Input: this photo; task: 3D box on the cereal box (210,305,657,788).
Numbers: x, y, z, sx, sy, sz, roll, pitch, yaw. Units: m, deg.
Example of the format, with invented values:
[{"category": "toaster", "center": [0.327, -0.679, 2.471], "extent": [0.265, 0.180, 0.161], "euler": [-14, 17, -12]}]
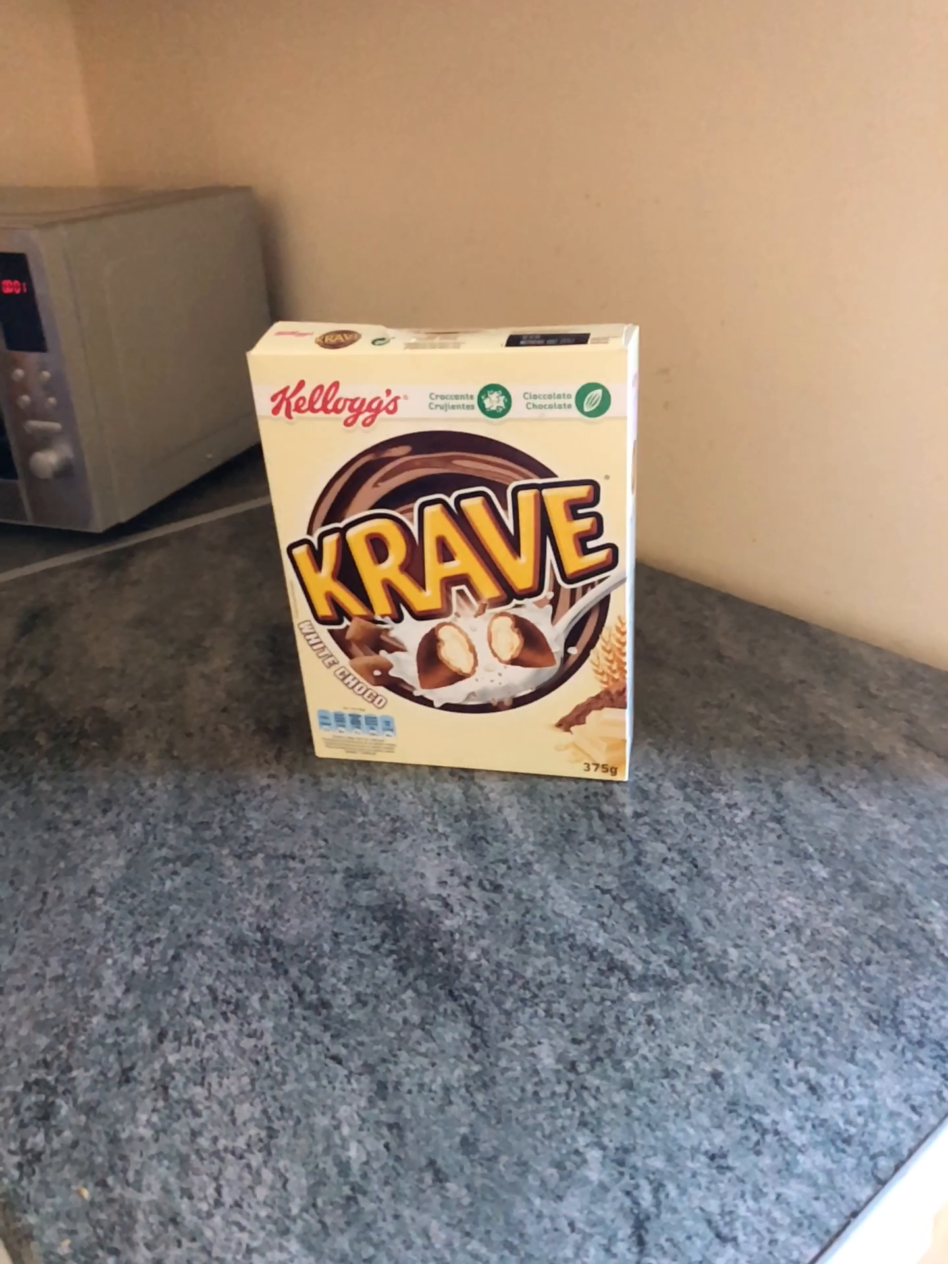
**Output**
[{"category": "cereal box", "center": [-0.014, -0.044, 0.576], "extent": [0.210, 0.248, 0.070], "euler": [4, 31, 9]}]
